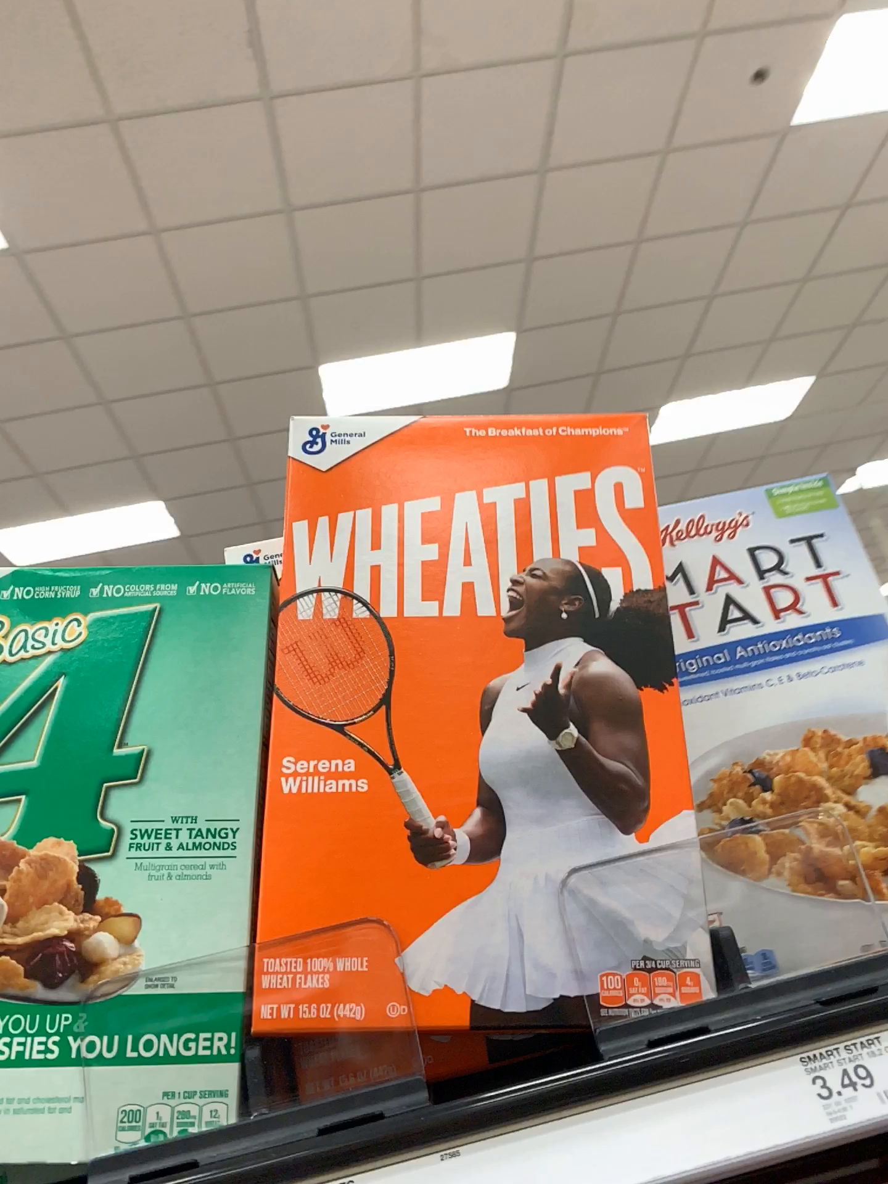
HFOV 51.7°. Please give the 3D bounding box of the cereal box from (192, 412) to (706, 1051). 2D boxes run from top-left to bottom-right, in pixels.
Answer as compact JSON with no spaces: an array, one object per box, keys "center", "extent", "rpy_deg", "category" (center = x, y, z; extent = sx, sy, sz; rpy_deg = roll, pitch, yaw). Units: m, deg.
[{"center":[0.000,0.056,0.445],"extent":[0.200,0.291,0.070],"rpy_deg":[-1,-23,0],"category":"cereal box"}]
